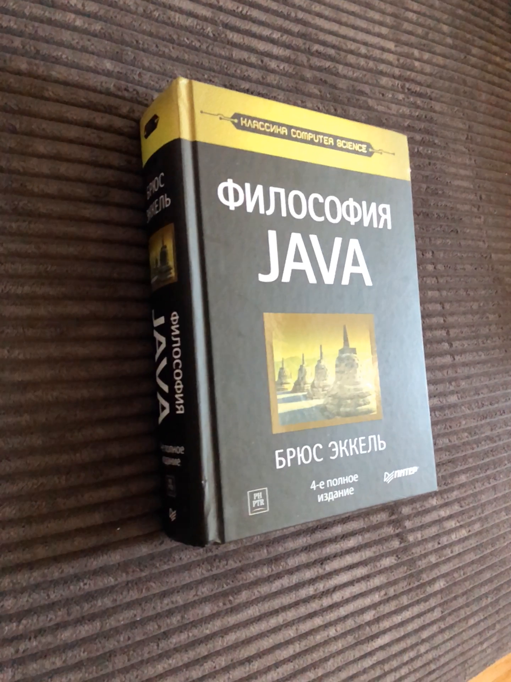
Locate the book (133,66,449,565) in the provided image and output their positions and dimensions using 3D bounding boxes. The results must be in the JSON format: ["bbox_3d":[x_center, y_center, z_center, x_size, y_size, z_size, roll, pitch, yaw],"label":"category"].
[{"bbox_3d":[0.026,-0.015,0.341,0.172,0.060,0.239,-2,85,-34],"label":"book"}]
